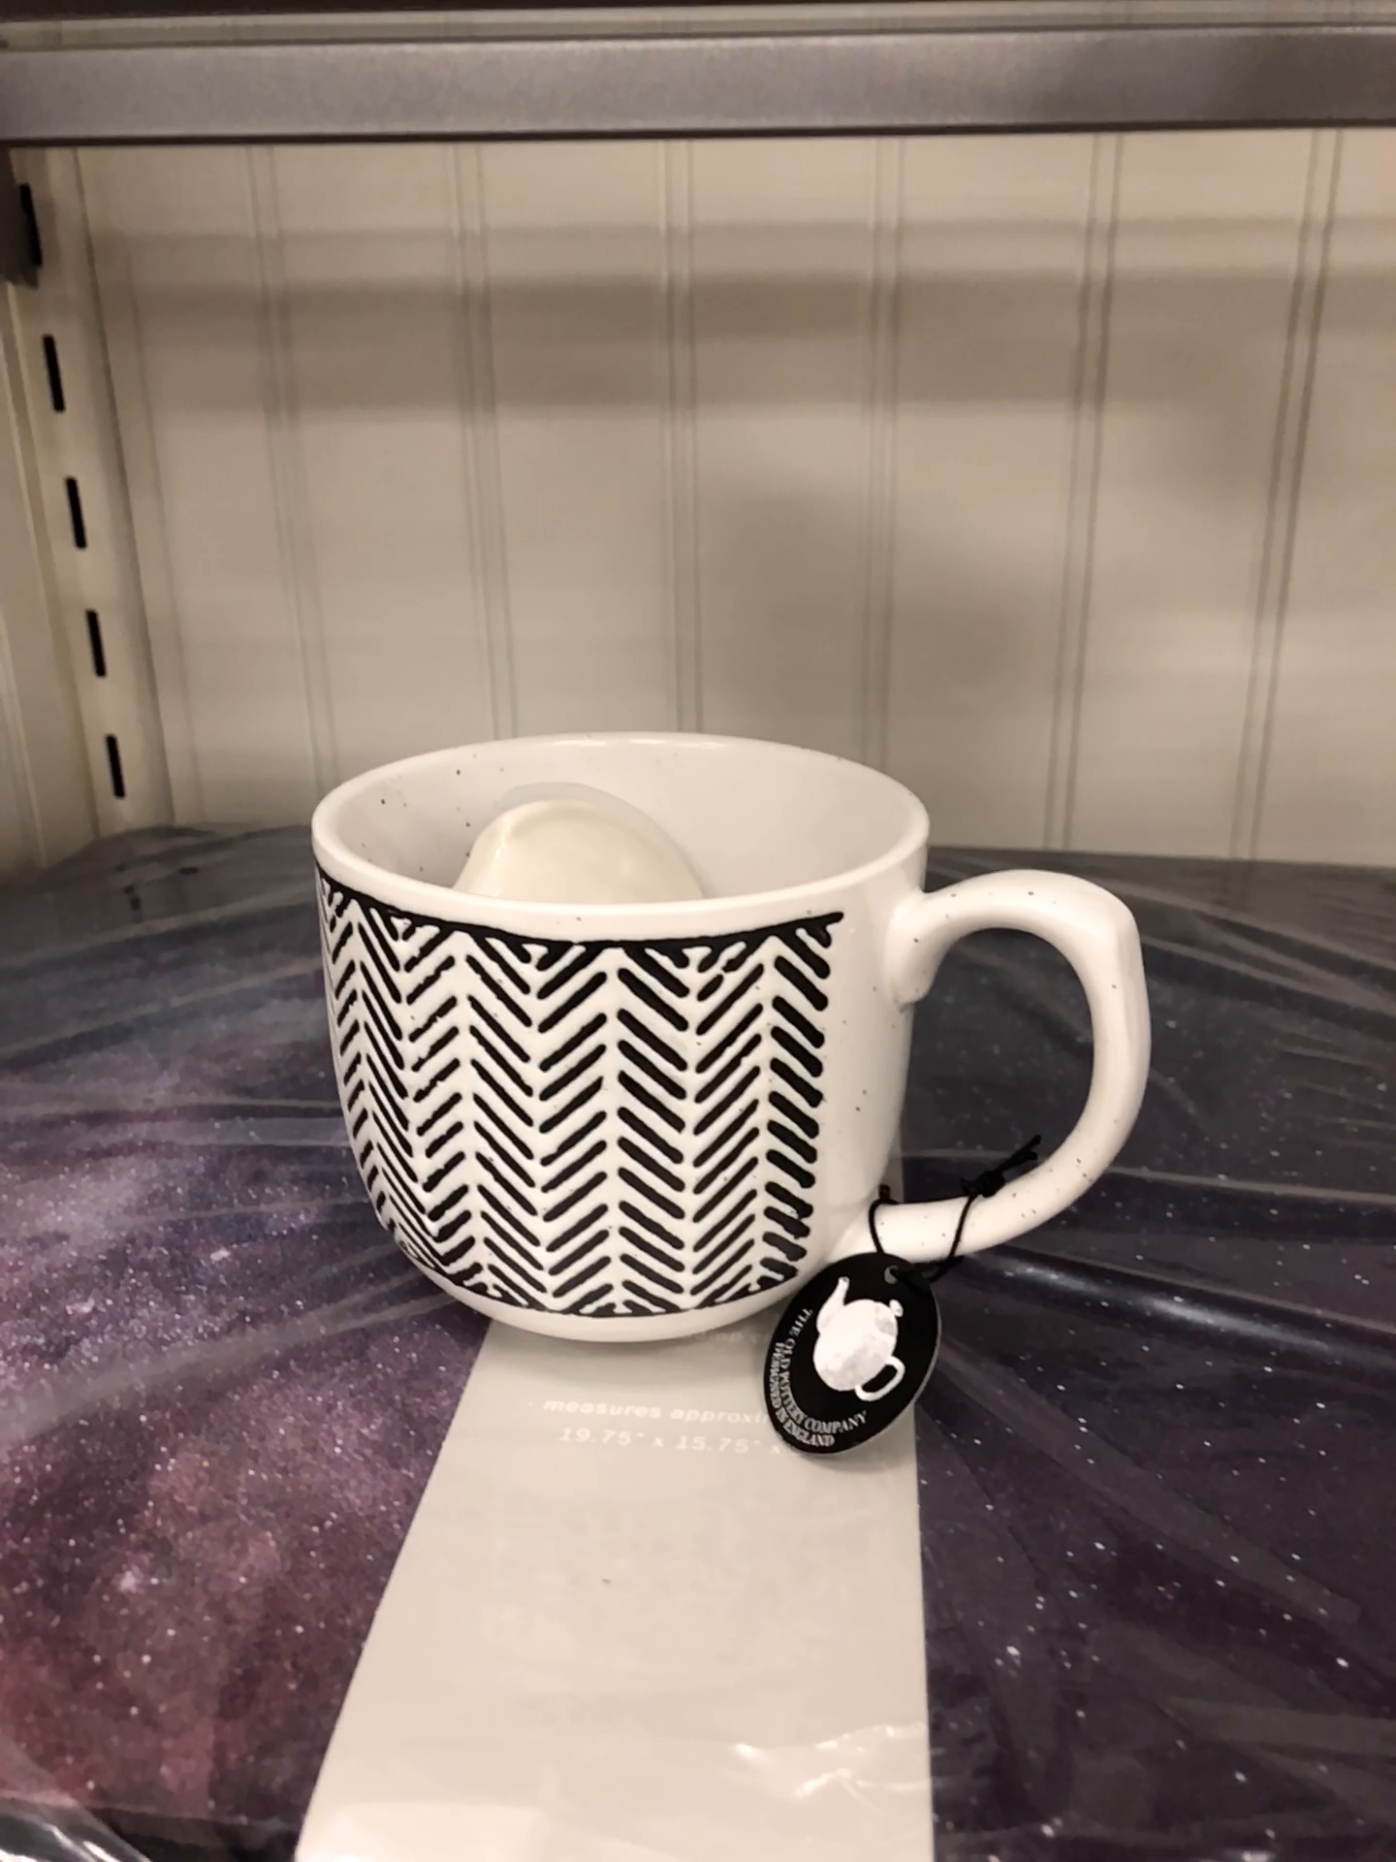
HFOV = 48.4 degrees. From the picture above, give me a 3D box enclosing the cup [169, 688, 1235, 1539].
[{"bbox_3d":[0.004,0.016,0.256,0.140,0.079,0.091,10,25,25],"label":"cup"}]
